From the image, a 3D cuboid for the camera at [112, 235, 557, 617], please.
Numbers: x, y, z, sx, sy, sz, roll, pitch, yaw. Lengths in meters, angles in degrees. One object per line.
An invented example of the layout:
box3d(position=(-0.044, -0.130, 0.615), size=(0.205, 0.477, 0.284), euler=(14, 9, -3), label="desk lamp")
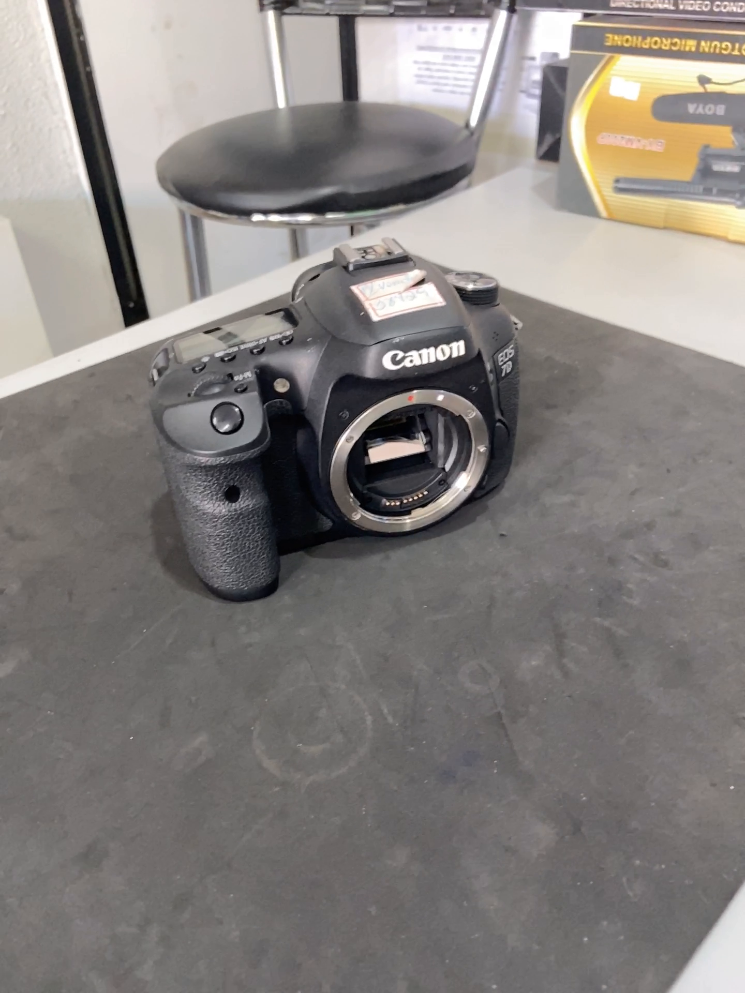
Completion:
box3d(position=(-0.015, -0.035, 0.324), size=(0.152, 0.101, 0.083), euler=(-15, 38, -15), label="camera")
